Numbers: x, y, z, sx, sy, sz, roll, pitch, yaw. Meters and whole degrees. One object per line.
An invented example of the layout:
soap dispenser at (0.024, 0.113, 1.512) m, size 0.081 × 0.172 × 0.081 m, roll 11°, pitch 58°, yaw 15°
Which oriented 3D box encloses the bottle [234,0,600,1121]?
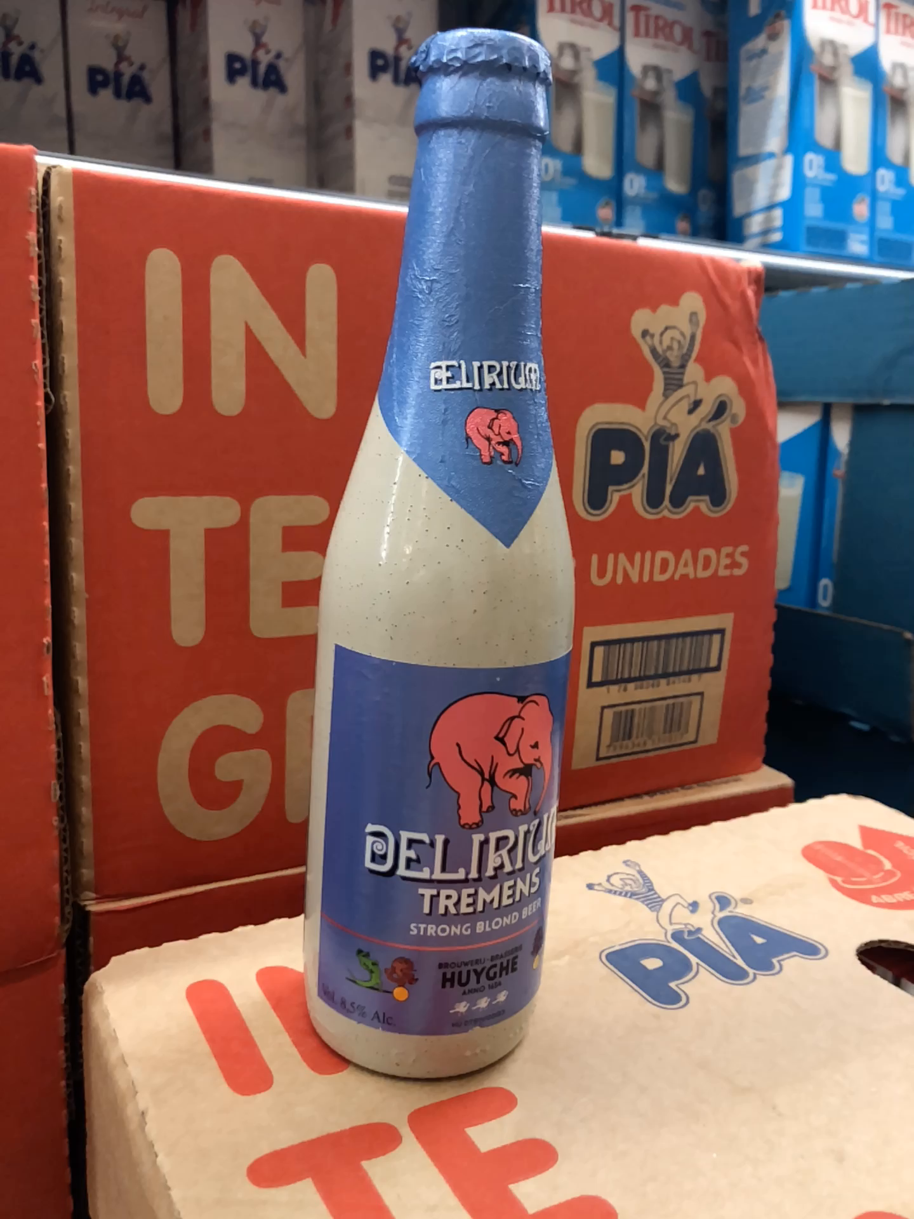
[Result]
bottle at (-0.013, -0.008, 0.235) m, size 0.060 × 0.219 × 0.060 m, roll 1°, pitch 9°, yaw 0°
